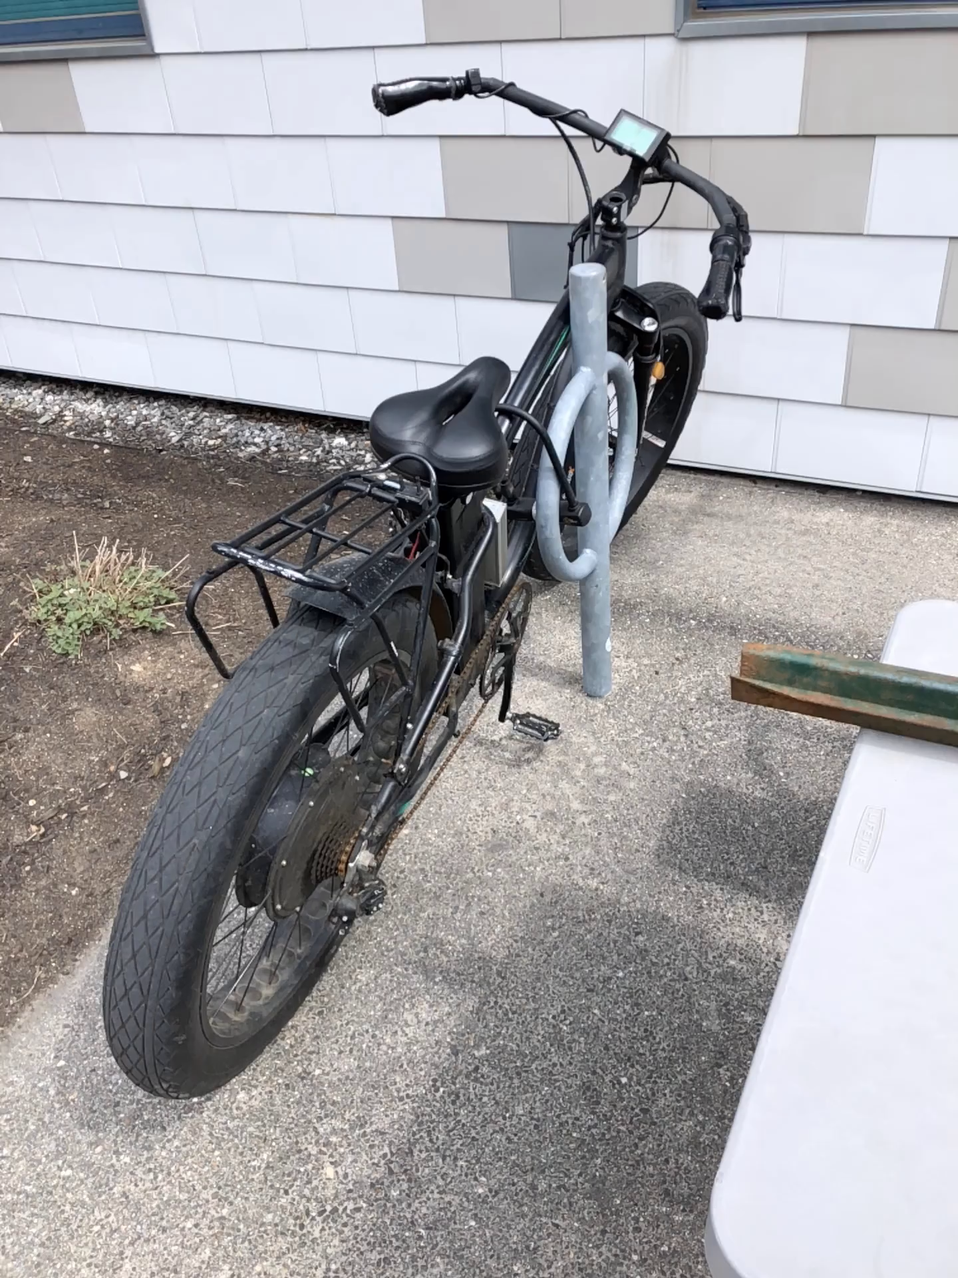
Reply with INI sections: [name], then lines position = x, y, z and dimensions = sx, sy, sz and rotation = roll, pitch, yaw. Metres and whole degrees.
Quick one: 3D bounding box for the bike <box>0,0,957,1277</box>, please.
[bike]
position = 0.127, -0.308, 1.857
dimensions = 0.877, 1.170, 2.124
rotation = 13, 41, 25
